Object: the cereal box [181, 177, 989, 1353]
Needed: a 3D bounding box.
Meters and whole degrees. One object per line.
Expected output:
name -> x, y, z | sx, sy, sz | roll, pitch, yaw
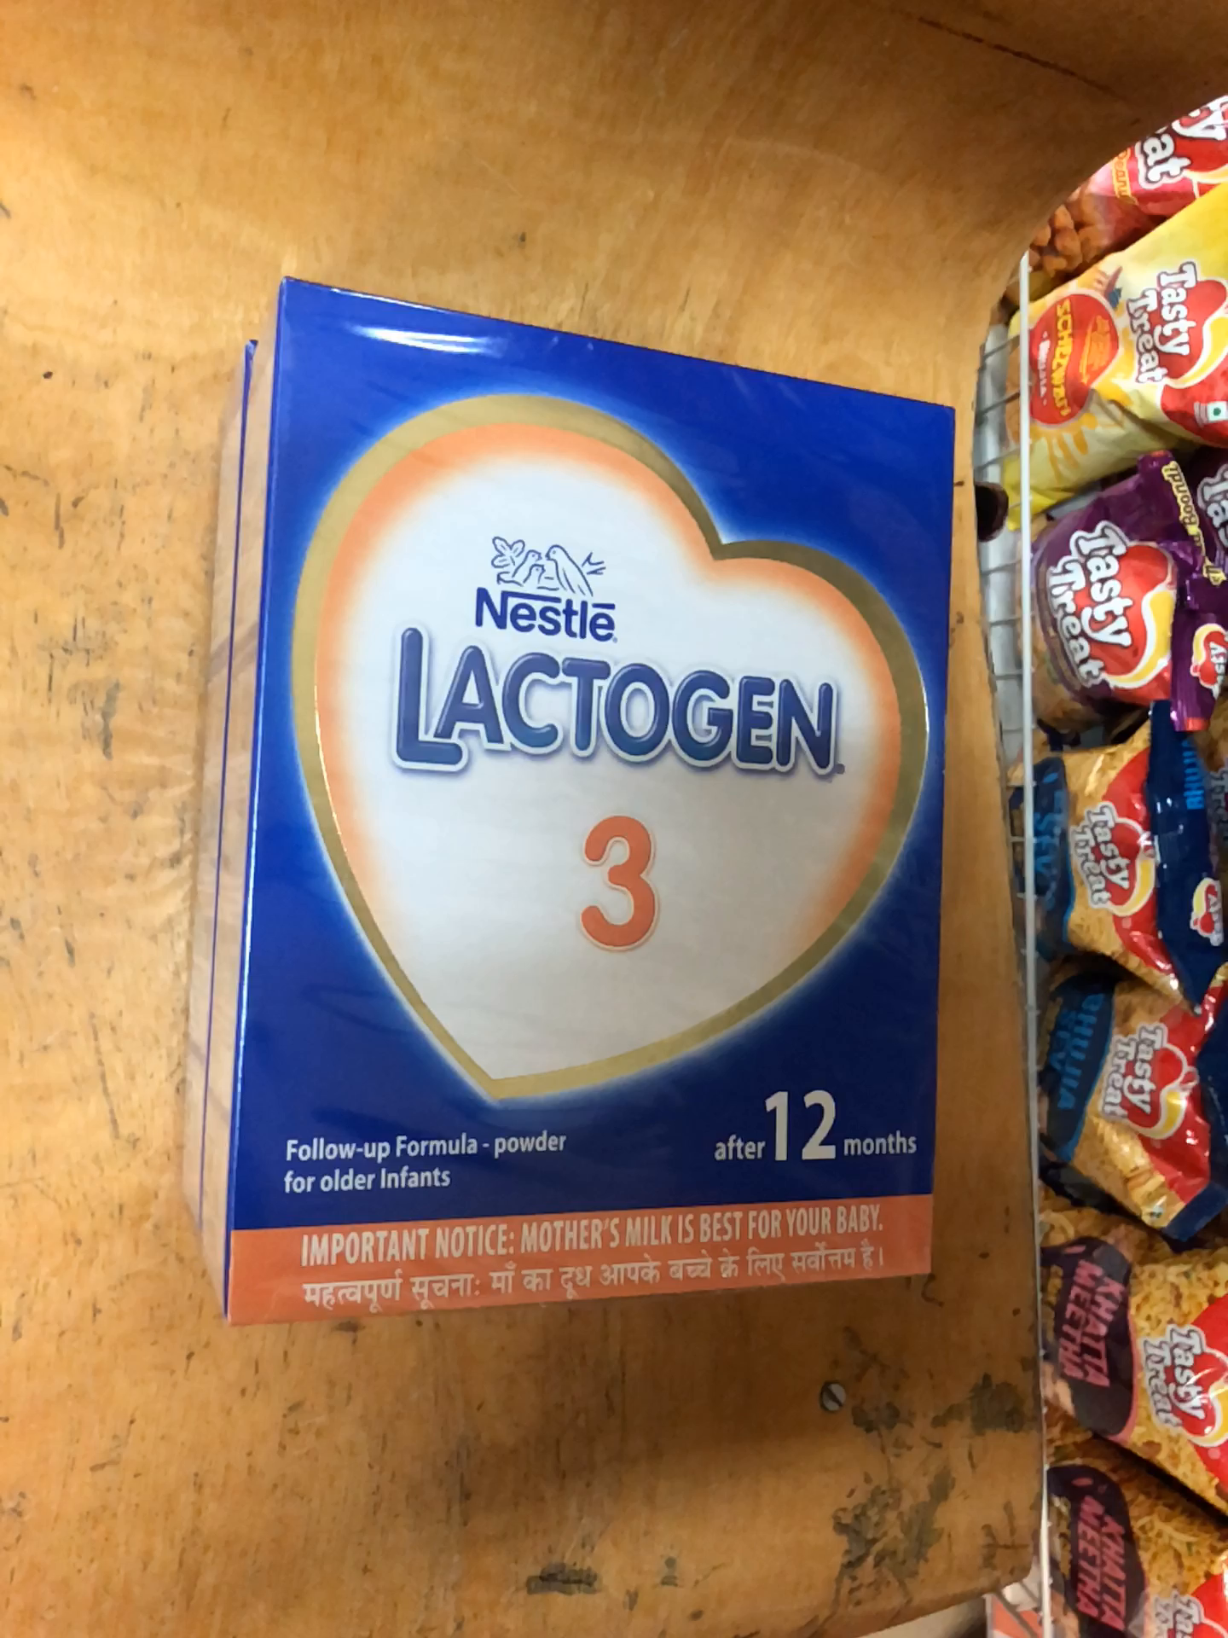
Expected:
cereal box -> -0.005, -0.006, 0.286 | 0.150, 0.060, 0.200 | 3, 87, -22
